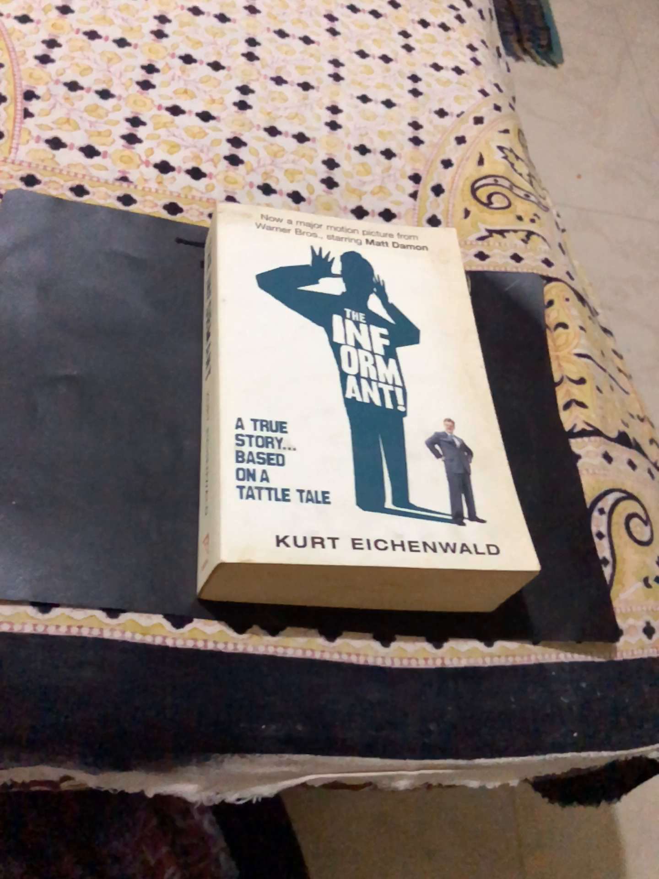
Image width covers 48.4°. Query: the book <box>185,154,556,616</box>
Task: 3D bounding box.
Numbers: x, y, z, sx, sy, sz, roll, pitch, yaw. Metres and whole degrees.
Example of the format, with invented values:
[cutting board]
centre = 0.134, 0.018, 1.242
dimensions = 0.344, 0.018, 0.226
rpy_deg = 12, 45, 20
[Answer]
[book]
centre = 0.007, -0.035, 0.357
dimensions = 0.140, 0.050, 0.230
rpy_deg = 5, 55, -15
